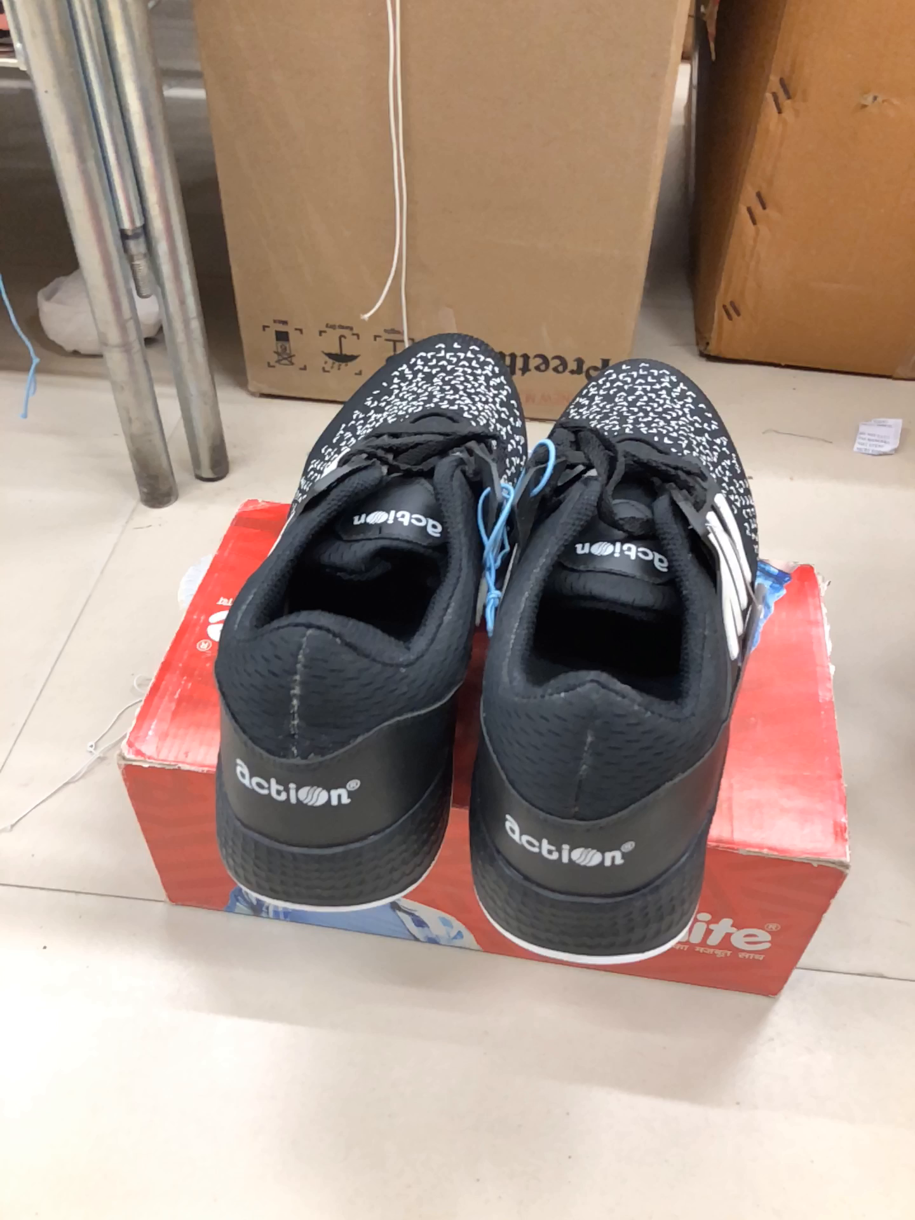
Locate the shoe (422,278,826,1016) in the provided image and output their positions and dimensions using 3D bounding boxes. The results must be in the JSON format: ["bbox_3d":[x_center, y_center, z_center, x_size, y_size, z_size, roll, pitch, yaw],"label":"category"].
[{"bbox_3d":[0.068,-0.009,0.382,0.101,0.102,0.268,9,46,8],"label":"shoe"}]

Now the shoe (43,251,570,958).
[{"bbox_3d":[-0.032,-0.024,0.392,0.111,0.102,0.268,9,46,7],"label":"shoe"}]
